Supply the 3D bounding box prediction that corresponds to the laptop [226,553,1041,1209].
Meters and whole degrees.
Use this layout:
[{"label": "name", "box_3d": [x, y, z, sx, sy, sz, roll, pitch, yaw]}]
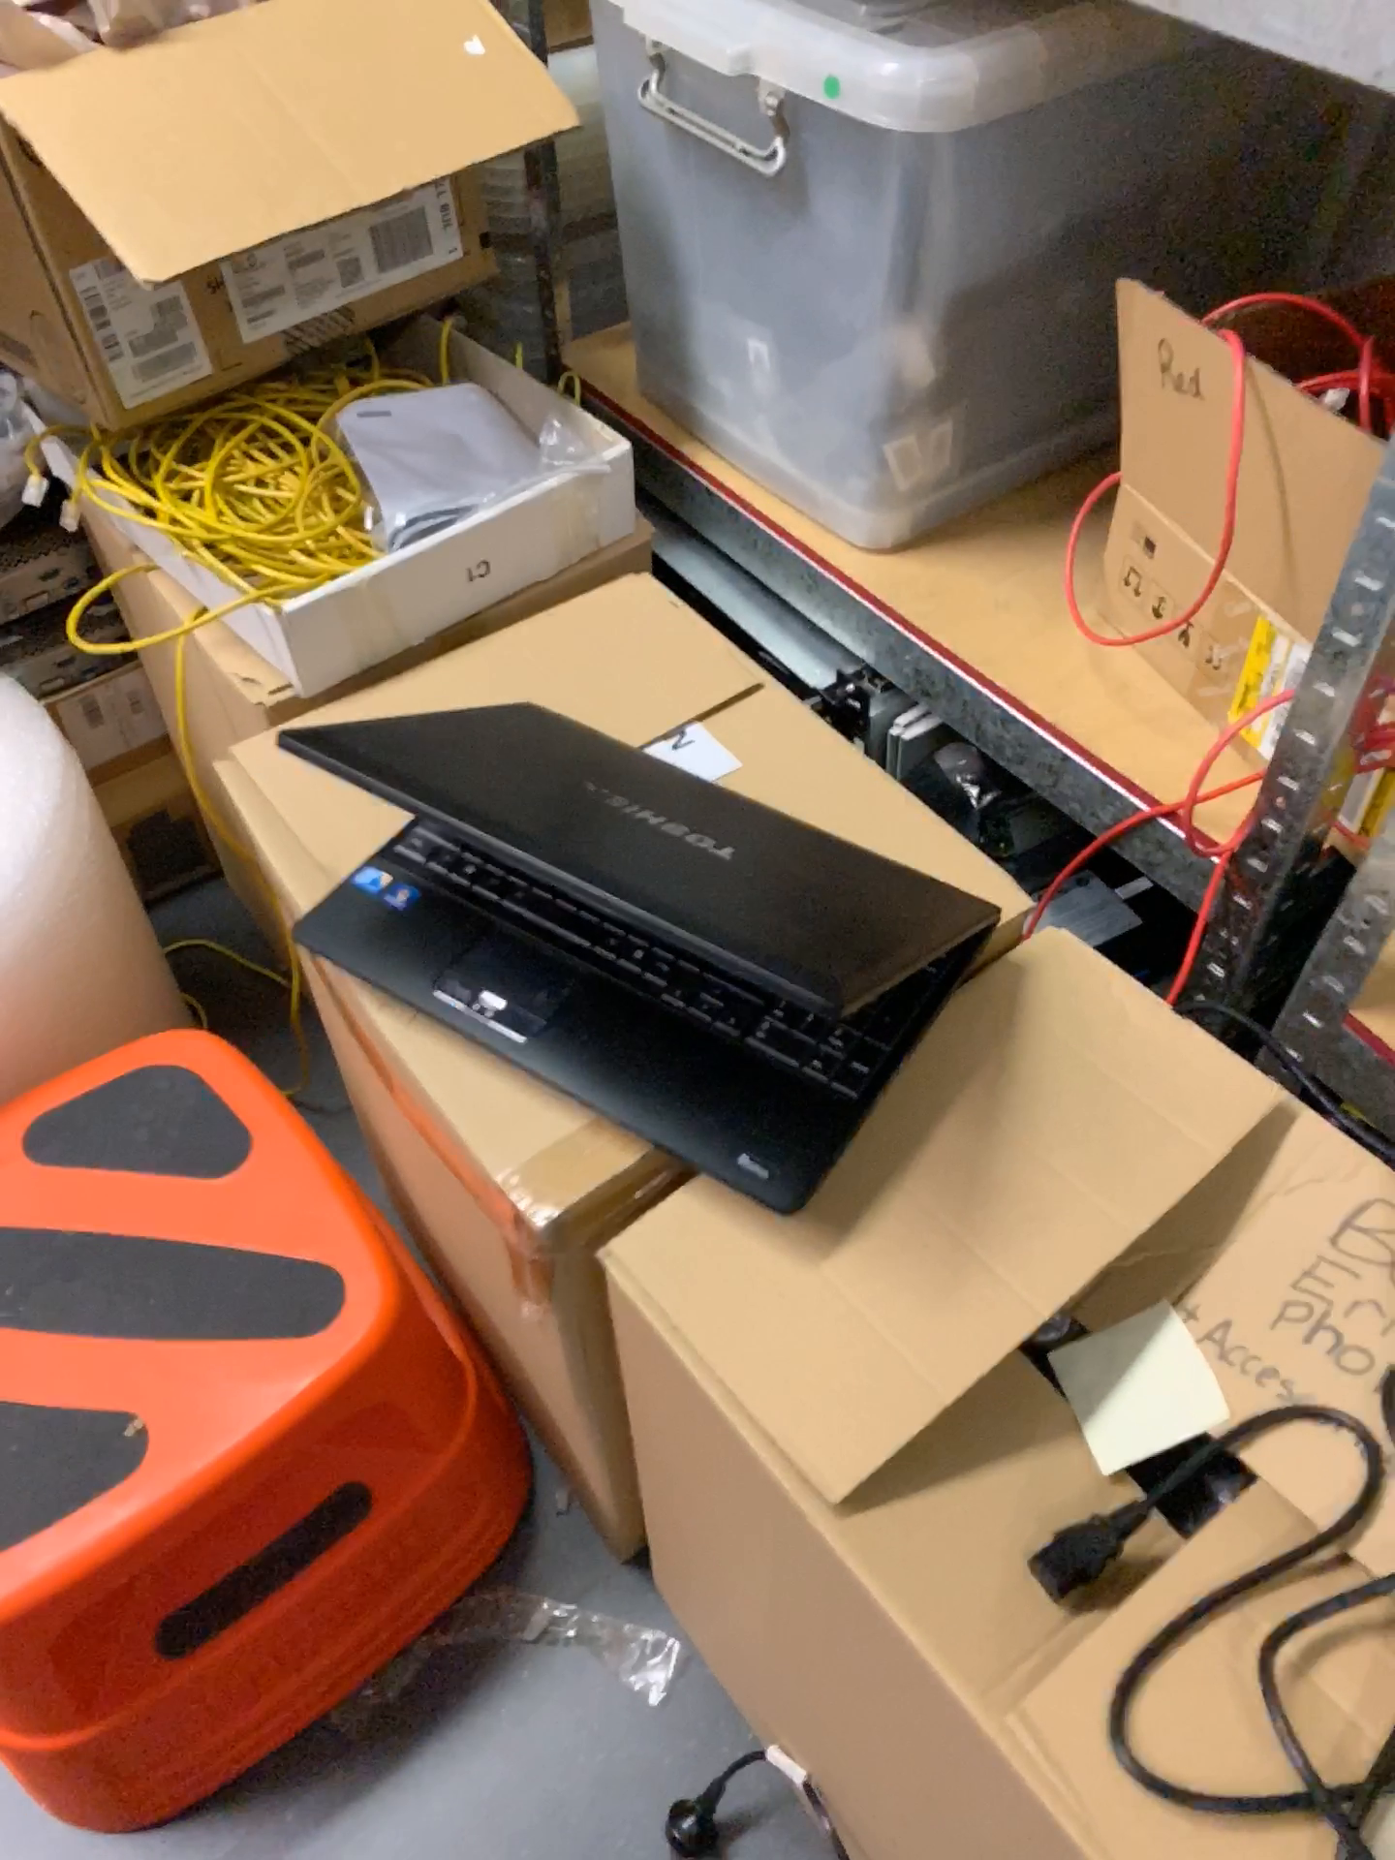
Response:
[{"label": "laptop", "box_3d": [-0.034, -0.043, 0.804, 0.355, 0.135, 0.231, 26, 56, 20]}]
